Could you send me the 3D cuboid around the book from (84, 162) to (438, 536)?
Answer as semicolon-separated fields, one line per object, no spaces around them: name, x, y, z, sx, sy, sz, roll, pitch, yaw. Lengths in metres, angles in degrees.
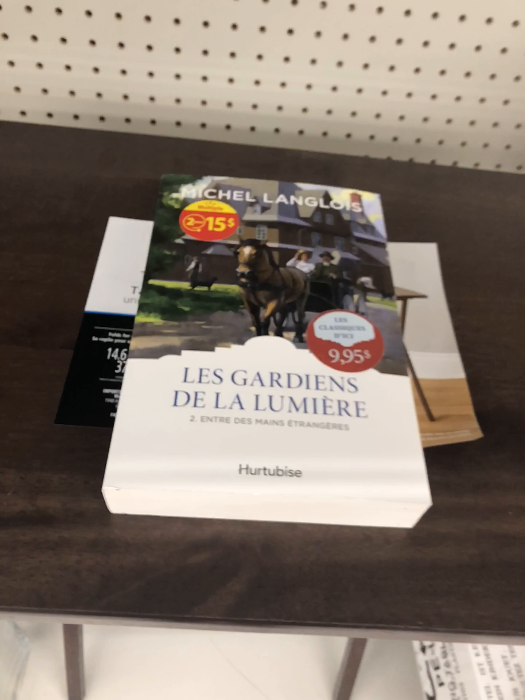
book;0.001;-0.016;0.347;0.158;0.039;0.235;4;53;-5
